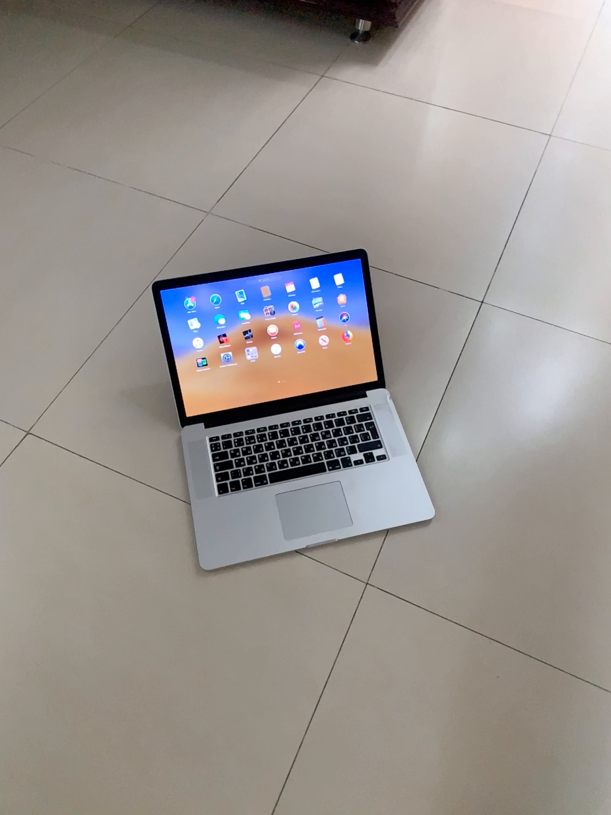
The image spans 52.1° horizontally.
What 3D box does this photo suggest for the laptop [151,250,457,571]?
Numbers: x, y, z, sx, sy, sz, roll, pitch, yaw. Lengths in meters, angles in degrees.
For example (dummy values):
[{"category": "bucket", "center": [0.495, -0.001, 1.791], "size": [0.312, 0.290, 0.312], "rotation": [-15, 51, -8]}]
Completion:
[{"category": "laptop", "center": [-0.024, -0.015, 0.965], "size": [0.352, 0.162, 0.416], "rotation": [-11, 57, -9]}]
